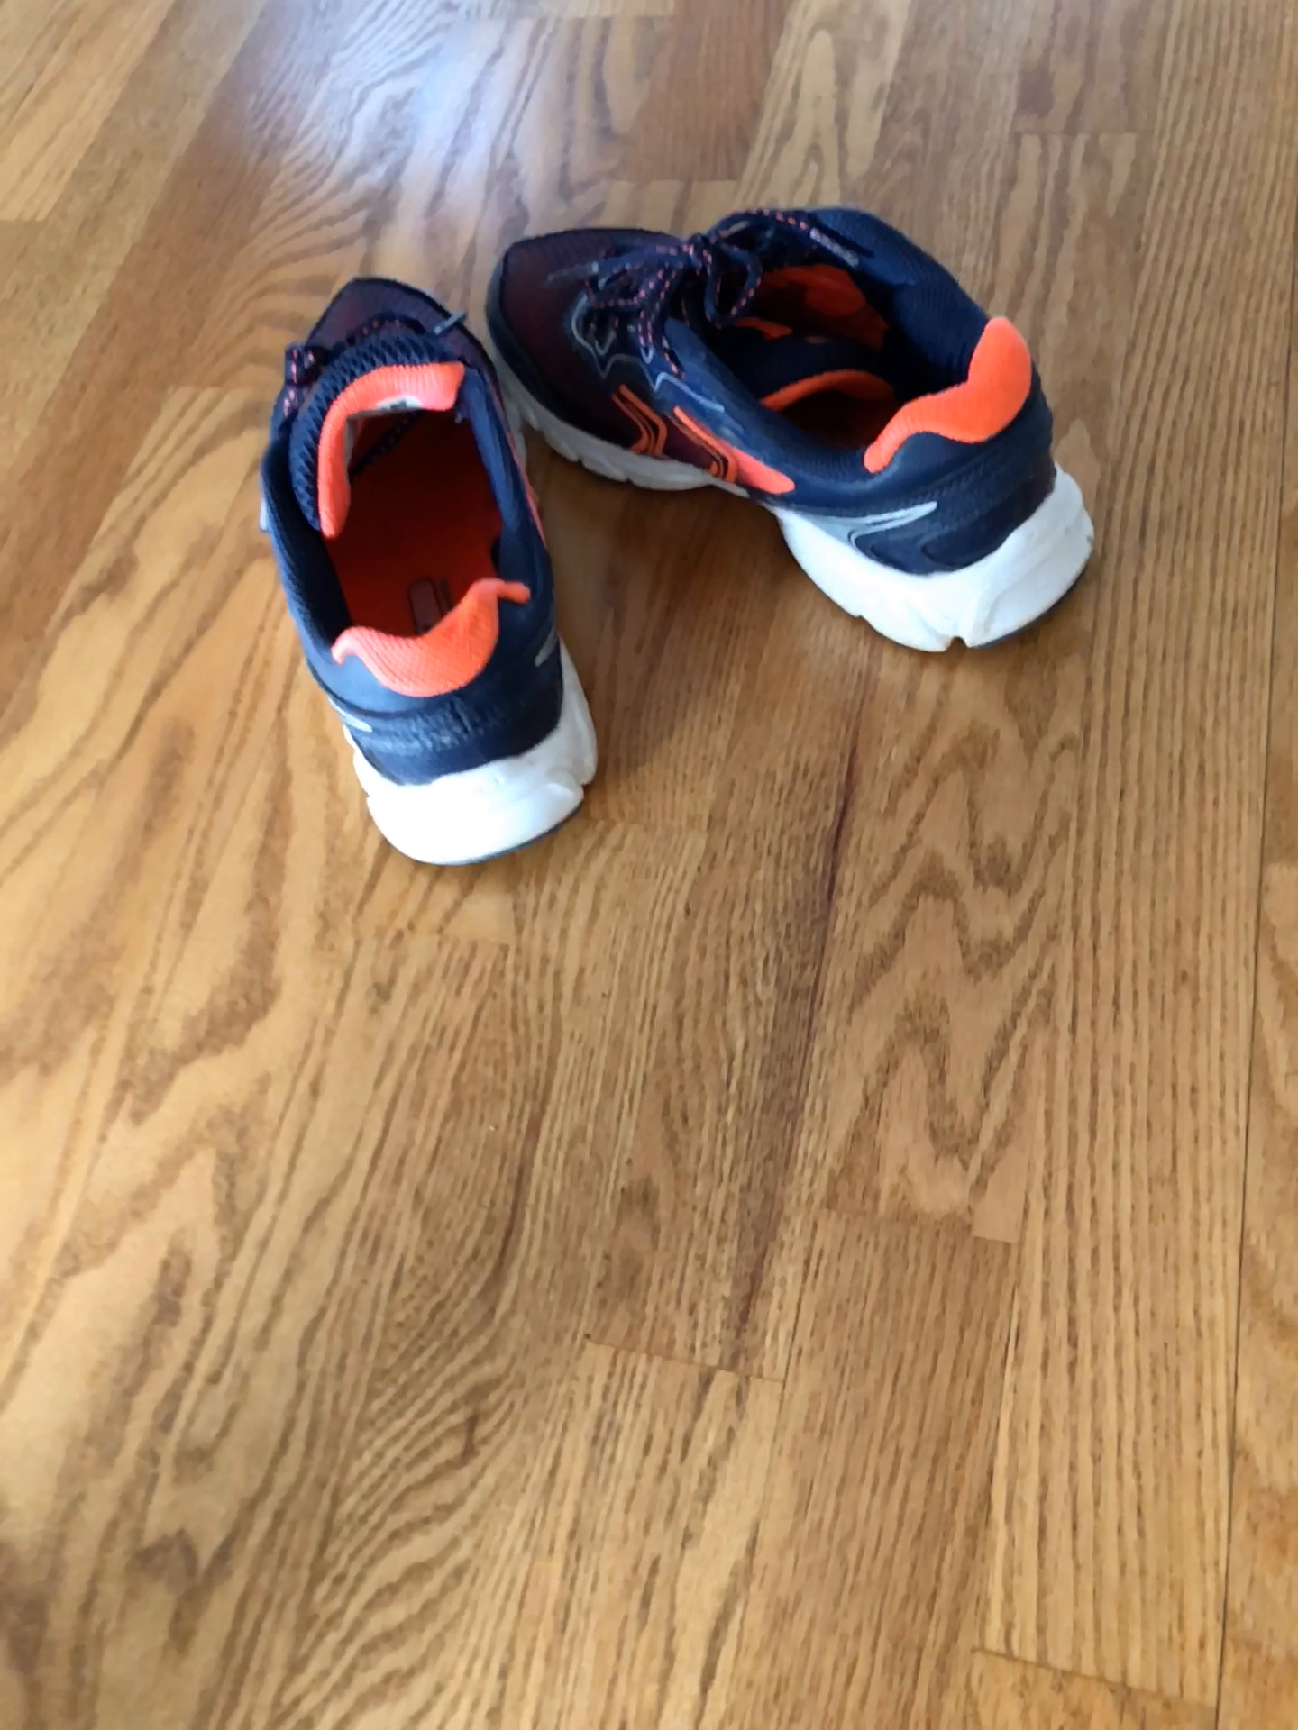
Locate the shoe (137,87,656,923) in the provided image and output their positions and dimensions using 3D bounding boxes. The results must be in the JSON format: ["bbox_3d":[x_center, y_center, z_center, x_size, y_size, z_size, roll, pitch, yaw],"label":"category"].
[{"bbox_3d":[-0.094,-0.134,0.508,0.108,0.109,0.270,-18,59,1],"label":"shoe"}]

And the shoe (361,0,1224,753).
[{"bbox_3d":[0.040,-0.184,0.509,0.116,0.109,0.278,-41,62,-12],"label":"shoe"}]
